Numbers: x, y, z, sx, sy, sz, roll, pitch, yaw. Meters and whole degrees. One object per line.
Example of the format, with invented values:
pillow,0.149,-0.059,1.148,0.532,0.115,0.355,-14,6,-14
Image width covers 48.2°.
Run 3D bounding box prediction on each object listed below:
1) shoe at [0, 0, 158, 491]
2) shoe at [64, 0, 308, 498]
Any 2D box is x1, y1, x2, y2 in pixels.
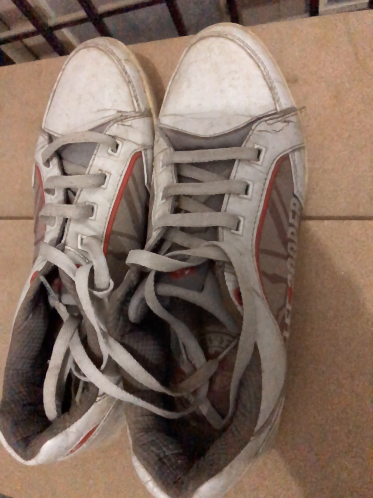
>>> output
shoe,-0.090,-0.016,0.265,0.100,0.080,0.270,1,78,16
shoe,0.014,-0.007,0.236,0.100,0.080,0.270,1,78,16
